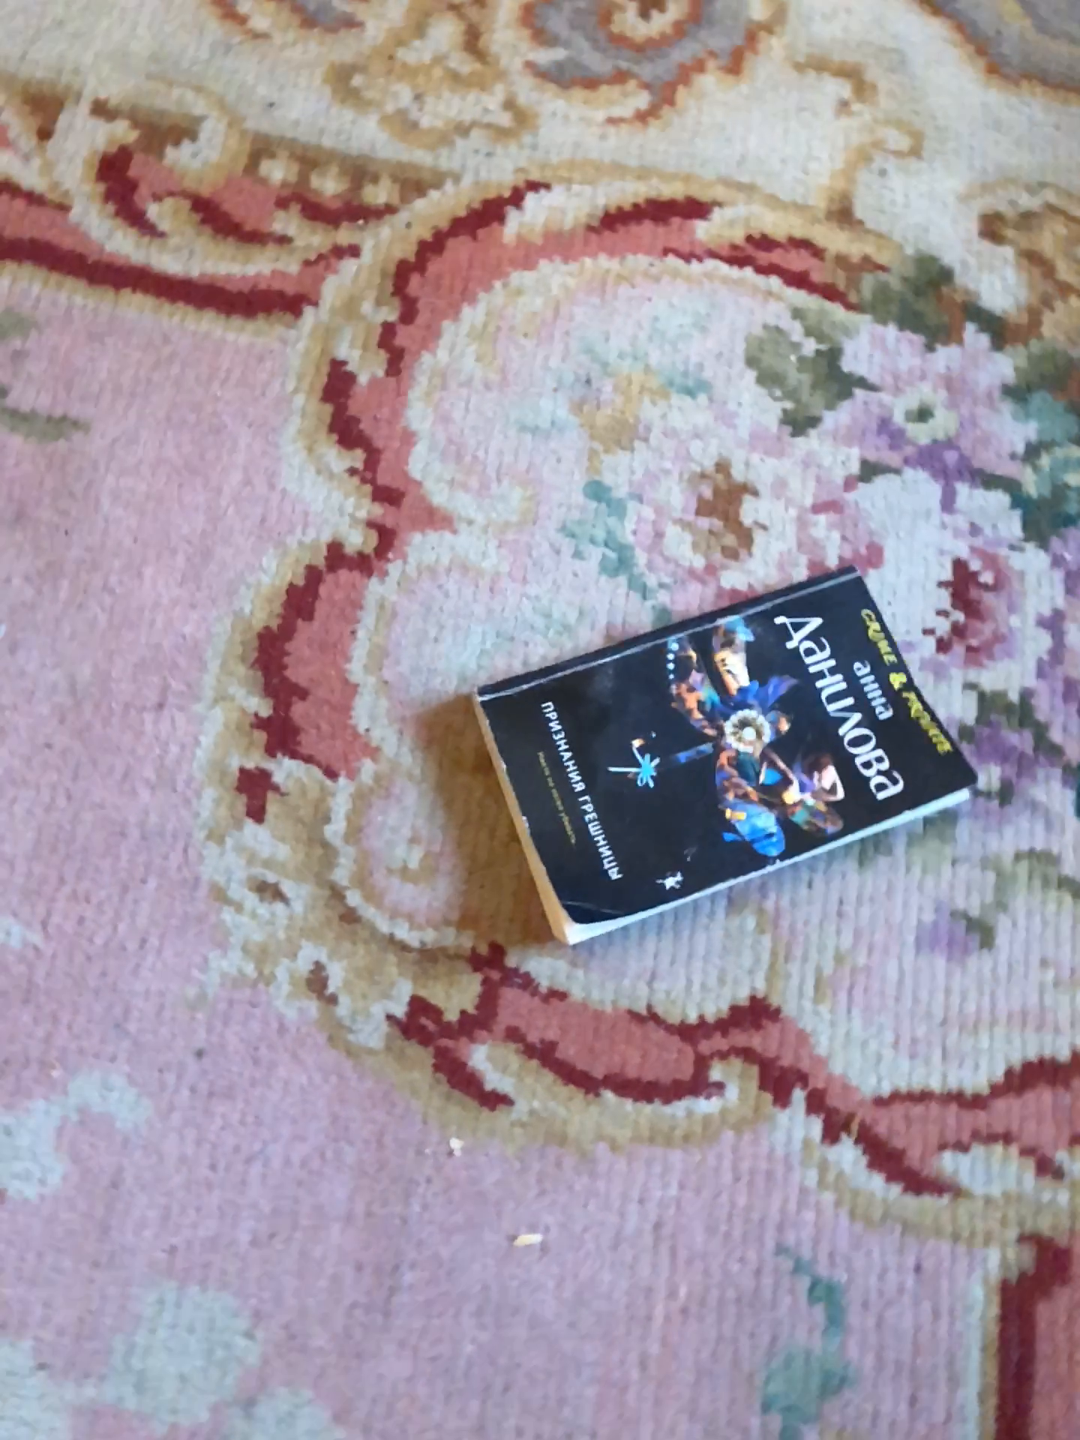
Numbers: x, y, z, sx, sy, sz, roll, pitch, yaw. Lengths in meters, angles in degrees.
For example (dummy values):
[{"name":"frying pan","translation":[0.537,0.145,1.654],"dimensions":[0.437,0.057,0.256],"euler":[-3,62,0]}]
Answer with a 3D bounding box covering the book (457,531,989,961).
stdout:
[{"name":"book","translation":[0.065,0.009,0.453],"dimensions":[0.165,0.050,0.110],"euler":[-18,75,-12]}]
